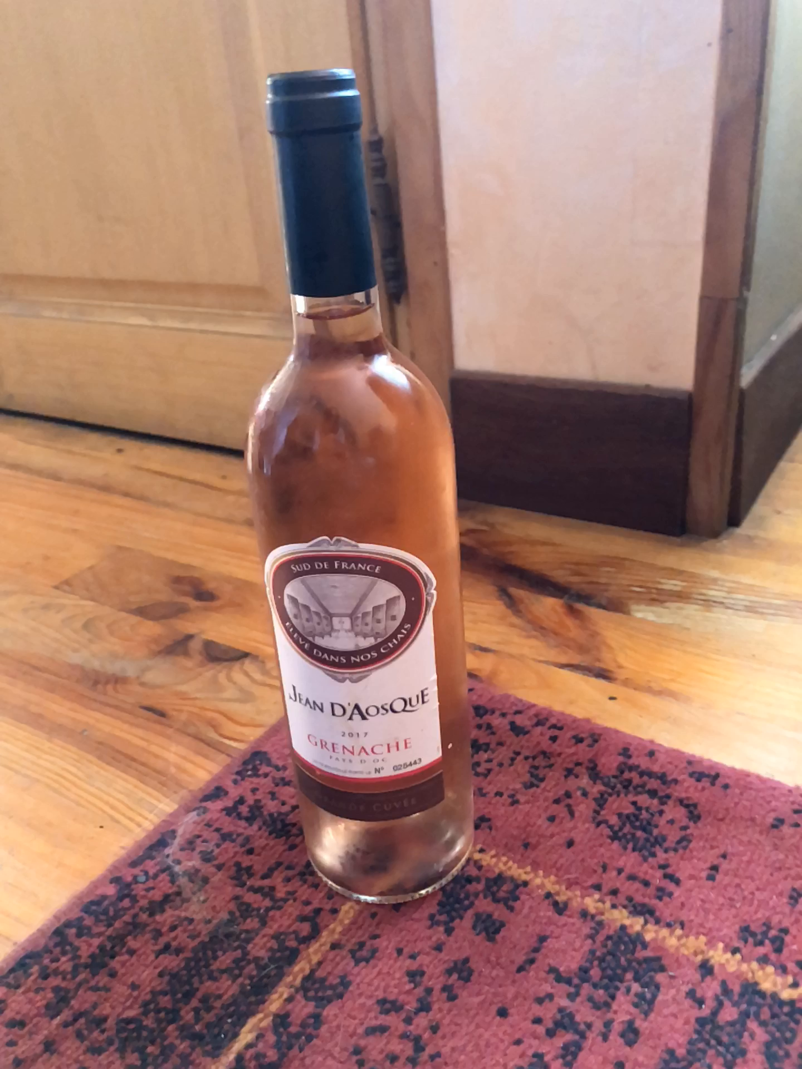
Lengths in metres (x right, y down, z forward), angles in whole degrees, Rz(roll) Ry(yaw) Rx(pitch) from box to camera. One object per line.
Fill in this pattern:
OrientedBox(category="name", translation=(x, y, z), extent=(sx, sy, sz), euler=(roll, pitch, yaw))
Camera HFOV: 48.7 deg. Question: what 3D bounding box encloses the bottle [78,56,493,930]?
OrientedBox(category="bottle", translation=(-0.019, 0.003, 0.326), extent=(0.090, 0.308, 0.080), euler=(-1, 27, 9))
